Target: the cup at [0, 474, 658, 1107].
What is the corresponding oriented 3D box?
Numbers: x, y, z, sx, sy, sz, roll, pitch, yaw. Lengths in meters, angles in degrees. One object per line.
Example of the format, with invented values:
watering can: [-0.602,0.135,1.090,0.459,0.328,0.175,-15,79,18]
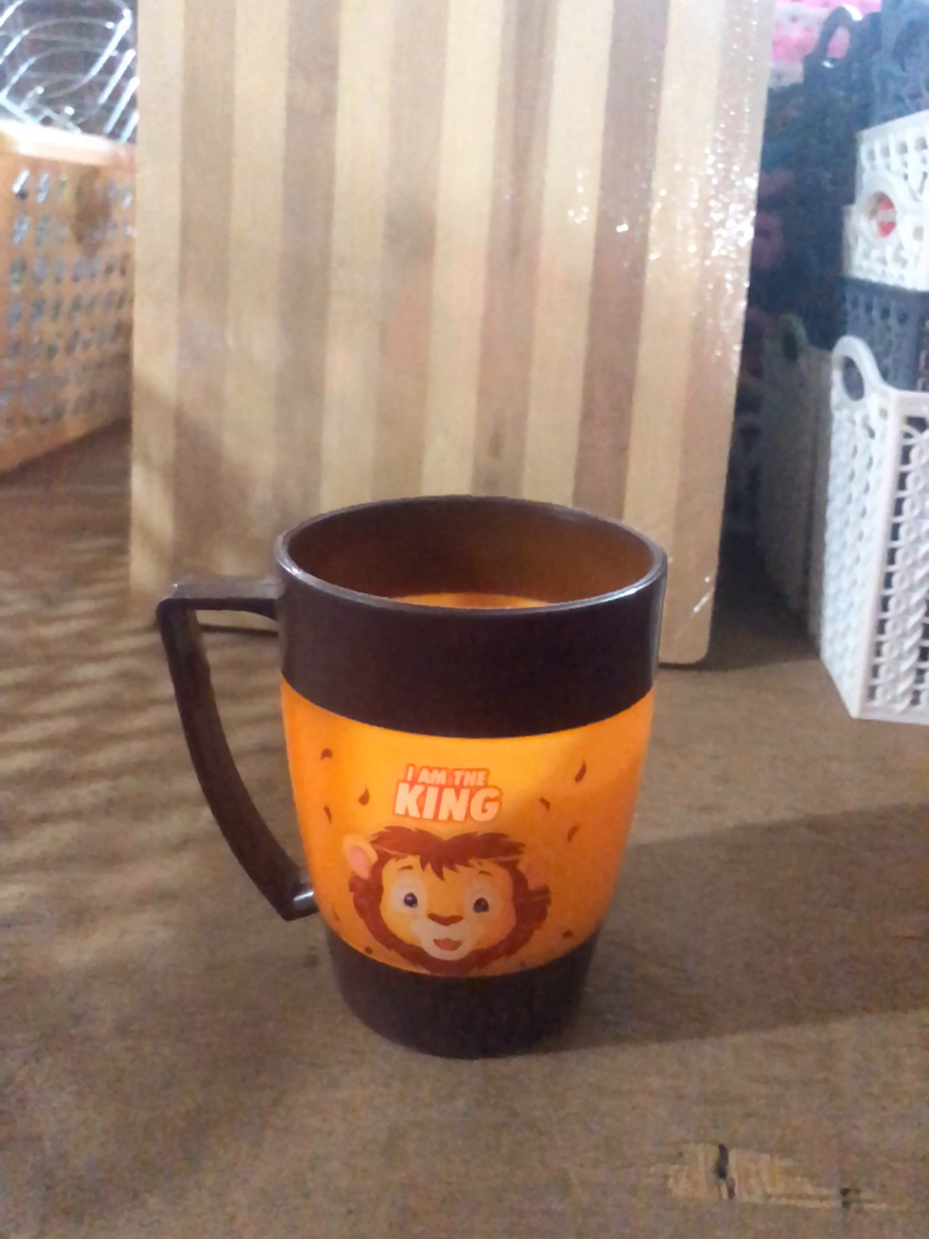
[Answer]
cup: [-0.019,0.027,0.195,0.100,0.090,0.060,4,22,7]
